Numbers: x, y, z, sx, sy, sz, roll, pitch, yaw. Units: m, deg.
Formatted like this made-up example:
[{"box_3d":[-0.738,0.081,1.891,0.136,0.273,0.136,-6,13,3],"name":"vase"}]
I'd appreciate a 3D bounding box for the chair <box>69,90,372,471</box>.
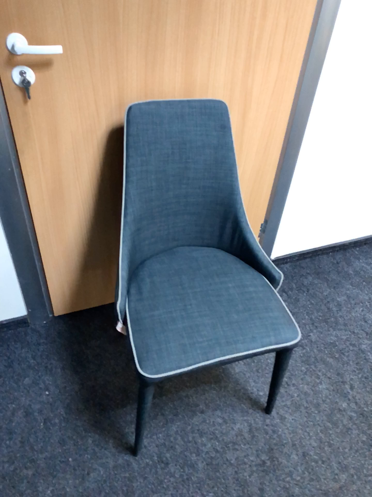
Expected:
[{"box_3d":[0.005,0.083,1.208,0.521,0.844,0.643,-10,43,-16],"name":"chair"}]
